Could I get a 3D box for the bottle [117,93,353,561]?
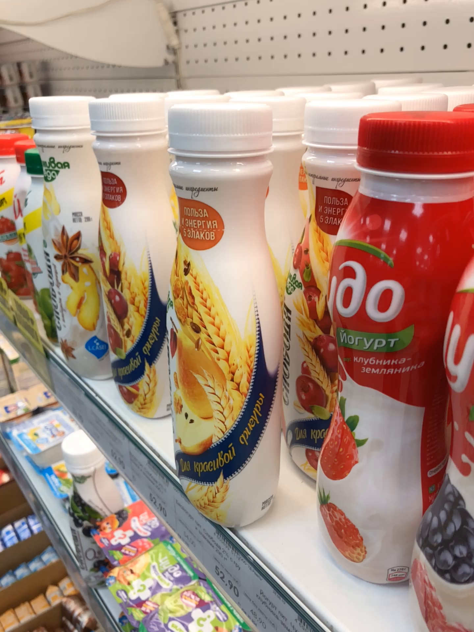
[{"bbox_3d":[0.001,0.004,0.238,0.060,0.189,0.070,-18,29,-30],"label":"bottle"}]
